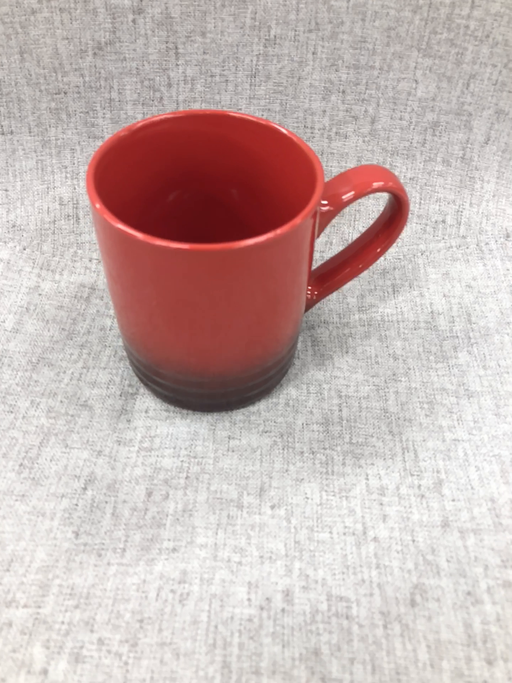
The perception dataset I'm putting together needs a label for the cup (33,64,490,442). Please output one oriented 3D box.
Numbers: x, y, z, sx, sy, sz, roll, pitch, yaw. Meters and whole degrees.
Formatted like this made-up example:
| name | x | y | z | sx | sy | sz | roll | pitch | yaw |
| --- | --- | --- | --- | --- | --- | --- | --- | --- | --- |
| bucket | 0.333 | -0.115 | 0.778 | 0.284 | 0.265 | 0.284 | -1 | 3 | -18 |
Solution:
| name | x | y | z | sx | sy | sz | roll | pitch | yaw |
| --- | --- | --- | --- | --- | --- | --- | --- | --- | --- |
| cup | -0.002 | -0.037 | 0.235 | 0.140 | 0.099 | 0.080 | -16 | 54 | -12 |
